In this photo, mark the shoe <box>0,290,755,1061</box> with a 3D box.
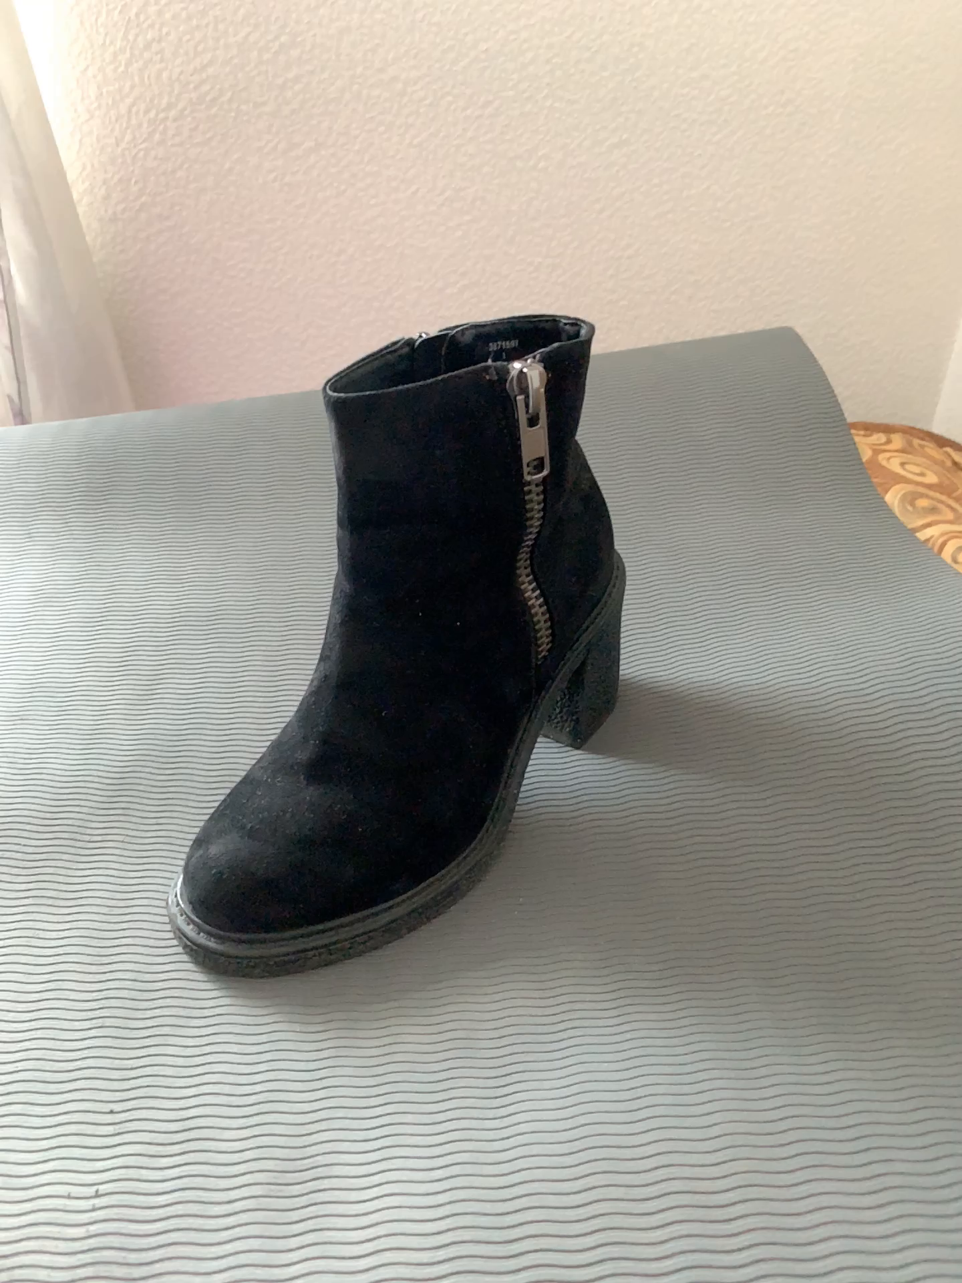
[{"bbox_3d":[-0.021,-0.006,0.367,0.099,0.179,0.241,30,44,35],"label":"shoe"}]
